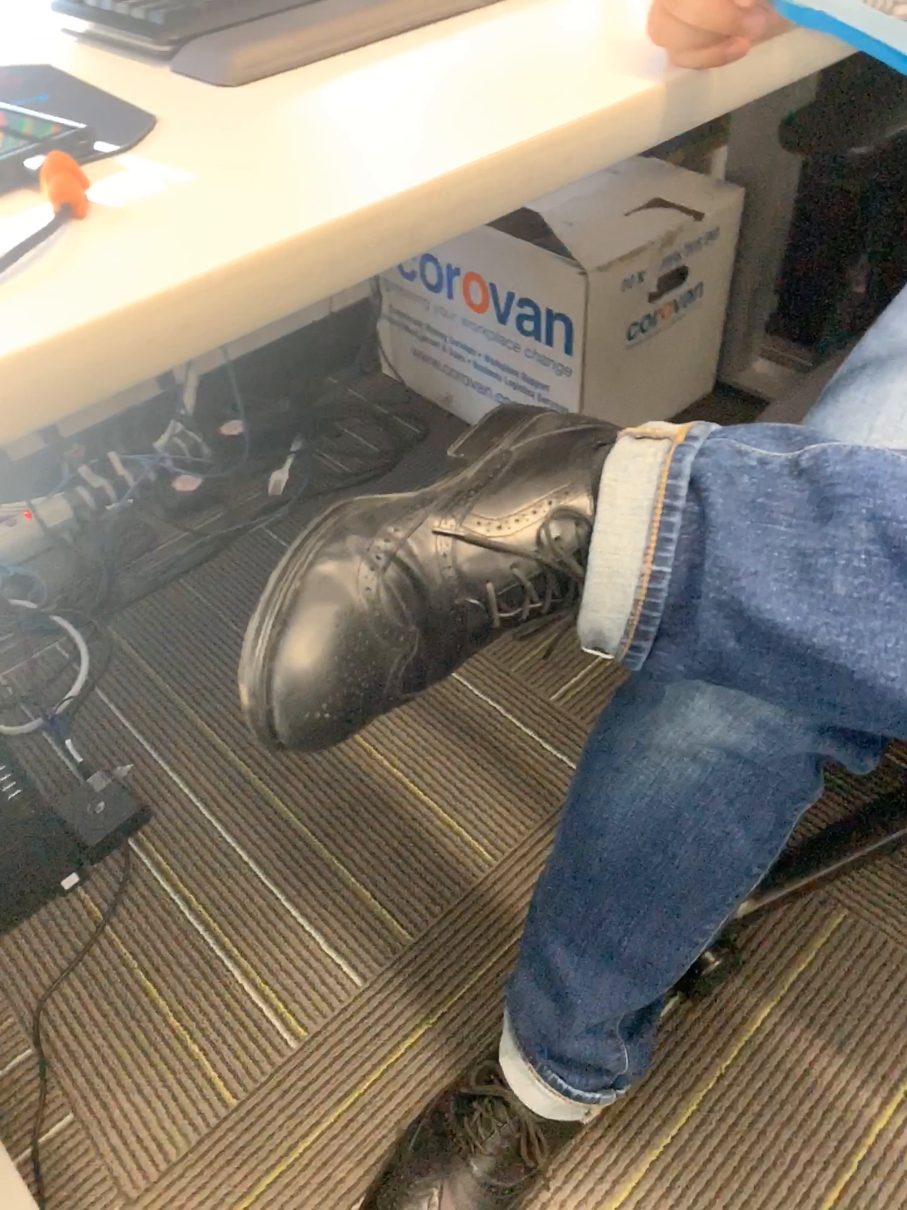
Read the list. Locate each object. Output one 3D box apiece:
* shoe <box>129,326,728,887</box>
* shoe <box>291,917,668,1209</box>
[{"bbox_3d":[0.007,-0.015,0.439,0.274,0.111,0.091,-37,50,-28],"label":"shoe"},{"bbox_3d":[0.029,0.391,0.702,0.274,0.104,0.112,-37,53,-28],"label":"shoe"}]
